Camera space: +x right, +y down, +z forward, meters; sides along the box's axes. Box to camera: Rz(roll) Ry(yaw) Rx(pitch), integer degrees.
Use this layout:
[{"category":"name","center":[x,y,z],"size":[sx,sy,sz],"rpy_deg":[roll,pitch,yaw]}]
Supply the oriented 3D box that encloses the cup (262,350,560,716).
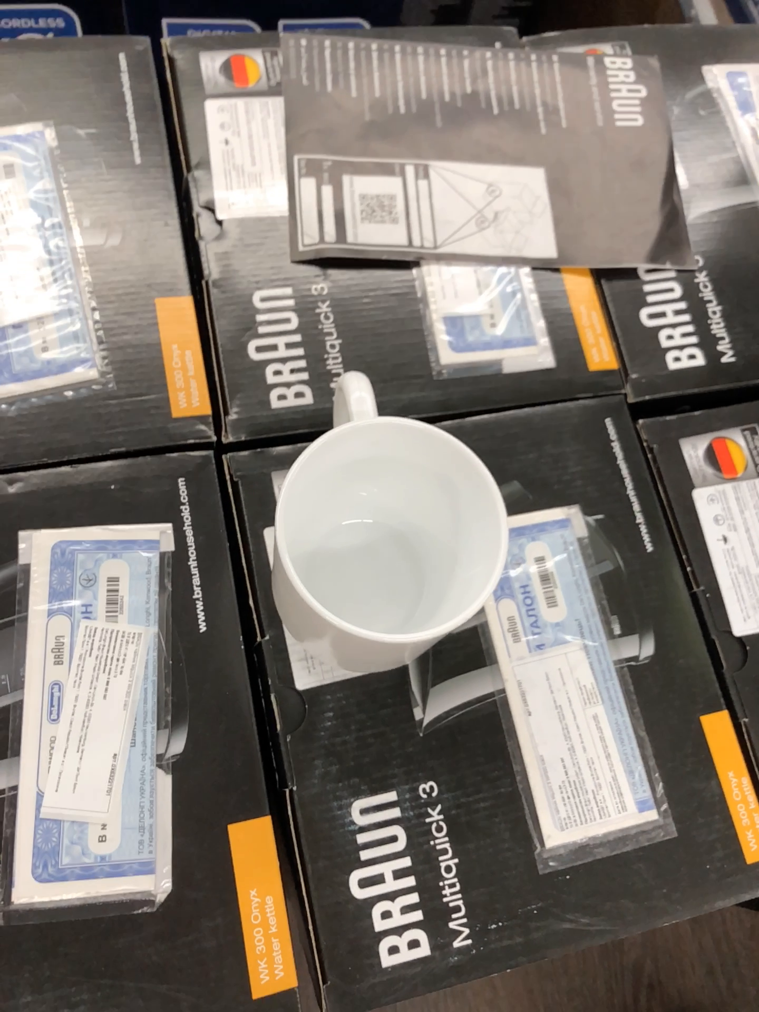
[{"category":"cup","center":[0.003,0.013,0.324],"size":[0.082,0.092,0.110],"rpy_deg":[-4,70,-12]}]
